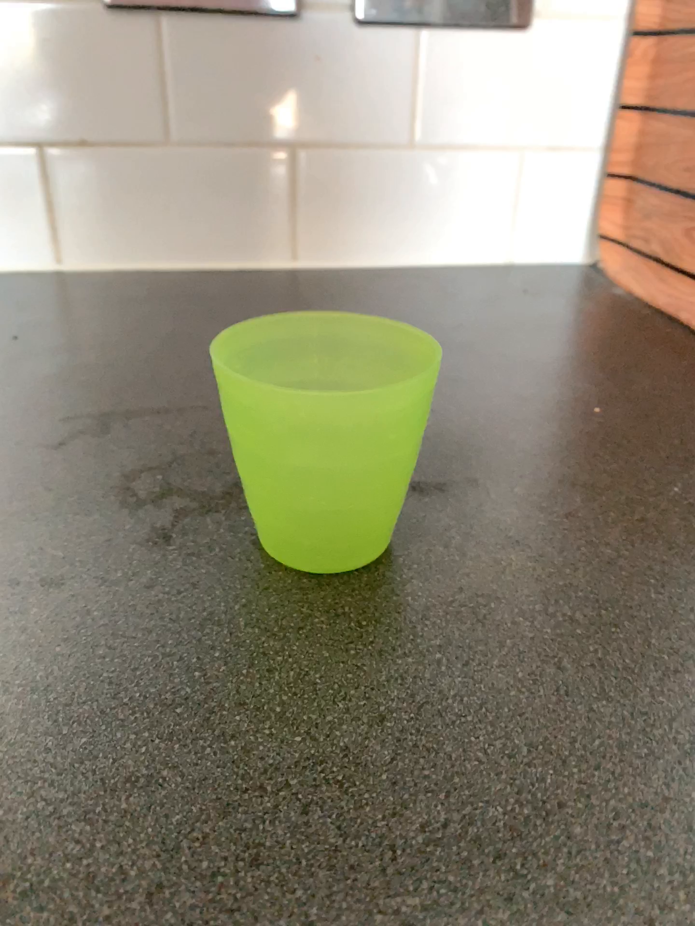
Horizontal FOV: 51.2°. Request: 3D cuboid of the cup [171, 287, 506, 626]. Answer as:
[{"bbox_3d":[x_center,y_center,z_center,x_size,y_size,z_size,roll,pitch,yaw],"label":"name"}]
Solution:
[{"bbox_3d":[-0.004,-0.010,0.275,0.090,0.080,0.078,-23,39,-38],"label":"cup"}]
